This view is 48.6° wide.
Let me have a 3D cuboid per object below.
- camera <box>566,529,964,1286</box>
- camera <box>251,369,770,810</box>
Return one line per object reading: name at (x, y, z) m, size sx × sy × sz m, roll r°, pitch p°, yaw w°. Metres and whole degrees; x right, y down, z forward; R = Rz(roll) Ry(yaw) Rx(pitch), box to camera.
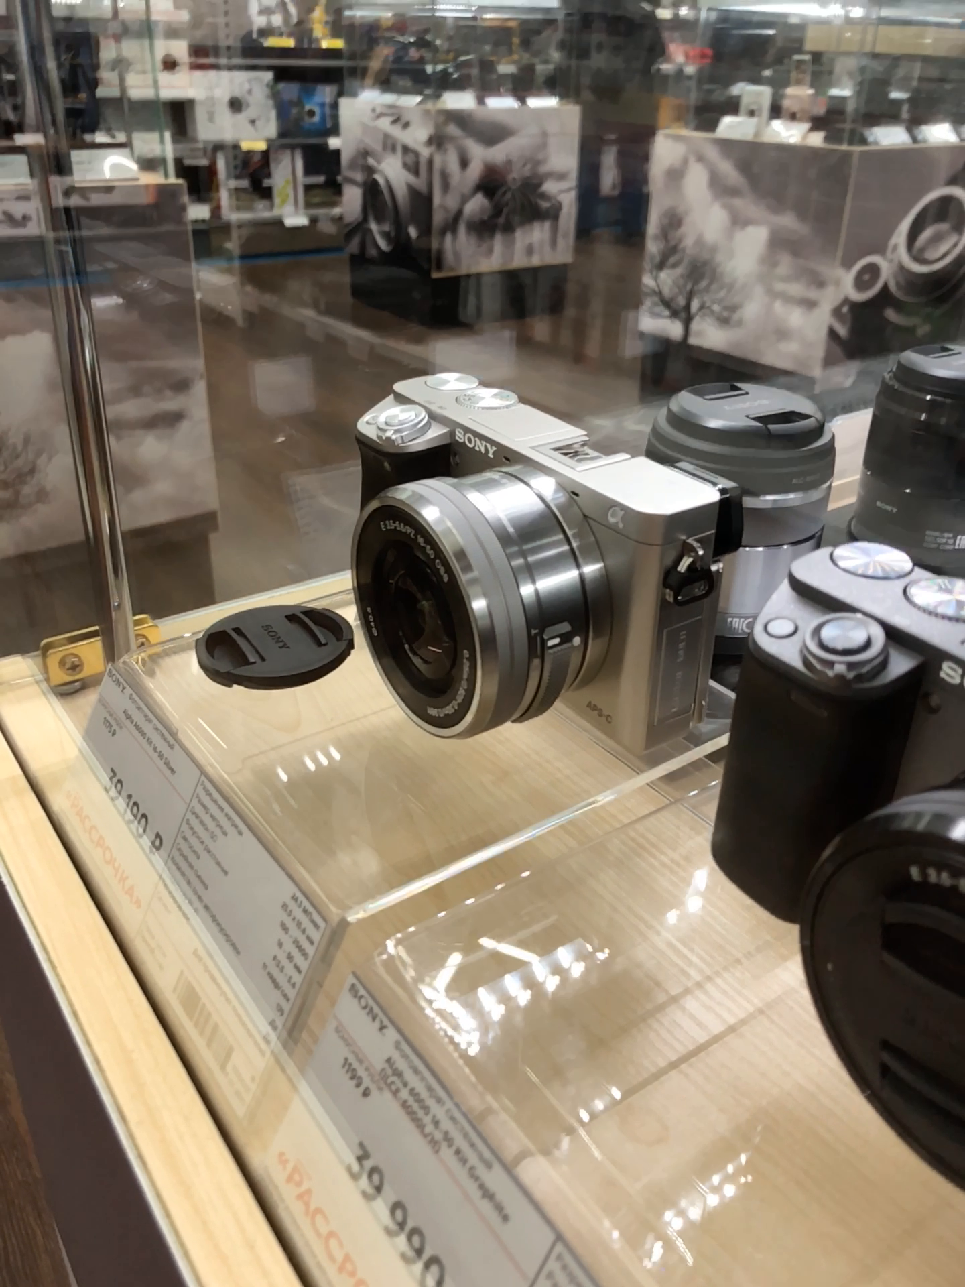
camera at (0.085, 0.038, 0.182) m, size 0.076 × 0.061 × 0.128 m, roll -17°, pitch 34°, yaw -30°
camera at (0.000, -0.025, 0.289) m, size 0.076 × 0.061 × 0.124 m, roll -17°, pitch 34°, yaw -30°
